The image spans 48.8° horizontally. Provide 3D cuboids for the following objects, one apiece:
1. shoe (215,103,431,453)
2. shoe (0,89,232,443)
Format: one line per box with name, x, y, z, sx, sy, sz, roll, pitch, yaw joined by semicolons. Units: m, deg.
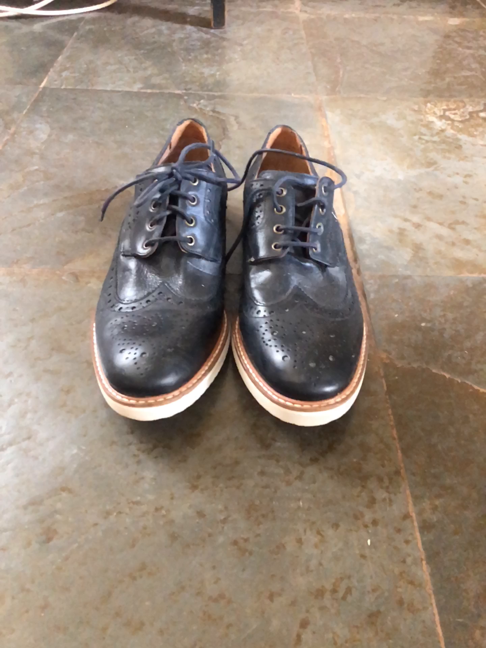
shoe;0.036;-0.060;0.422;0.110;0.099;0.302;-1;46;-3
shoe;-0.067;-0.065;0.402;0.110;0.099;0.292;1;46;-1
